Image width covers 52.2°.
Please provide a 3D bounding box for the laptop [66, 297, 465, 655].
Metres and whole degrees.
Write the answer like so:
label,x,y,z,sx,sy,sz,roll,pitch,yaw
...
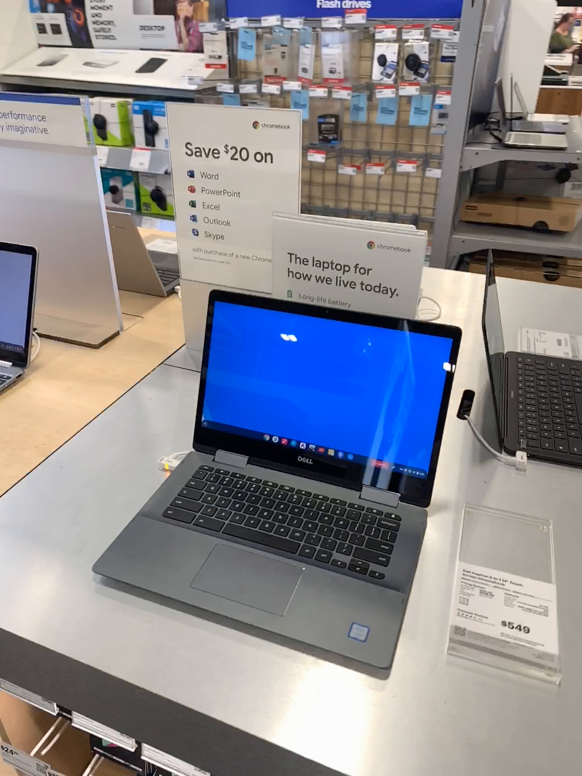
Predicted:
label,x,y,z,sx,sy,sz,roll,pitch,yaw
laptop,-0.004,0.062,0.658,0.310,0.202,0.293,11,32,19
